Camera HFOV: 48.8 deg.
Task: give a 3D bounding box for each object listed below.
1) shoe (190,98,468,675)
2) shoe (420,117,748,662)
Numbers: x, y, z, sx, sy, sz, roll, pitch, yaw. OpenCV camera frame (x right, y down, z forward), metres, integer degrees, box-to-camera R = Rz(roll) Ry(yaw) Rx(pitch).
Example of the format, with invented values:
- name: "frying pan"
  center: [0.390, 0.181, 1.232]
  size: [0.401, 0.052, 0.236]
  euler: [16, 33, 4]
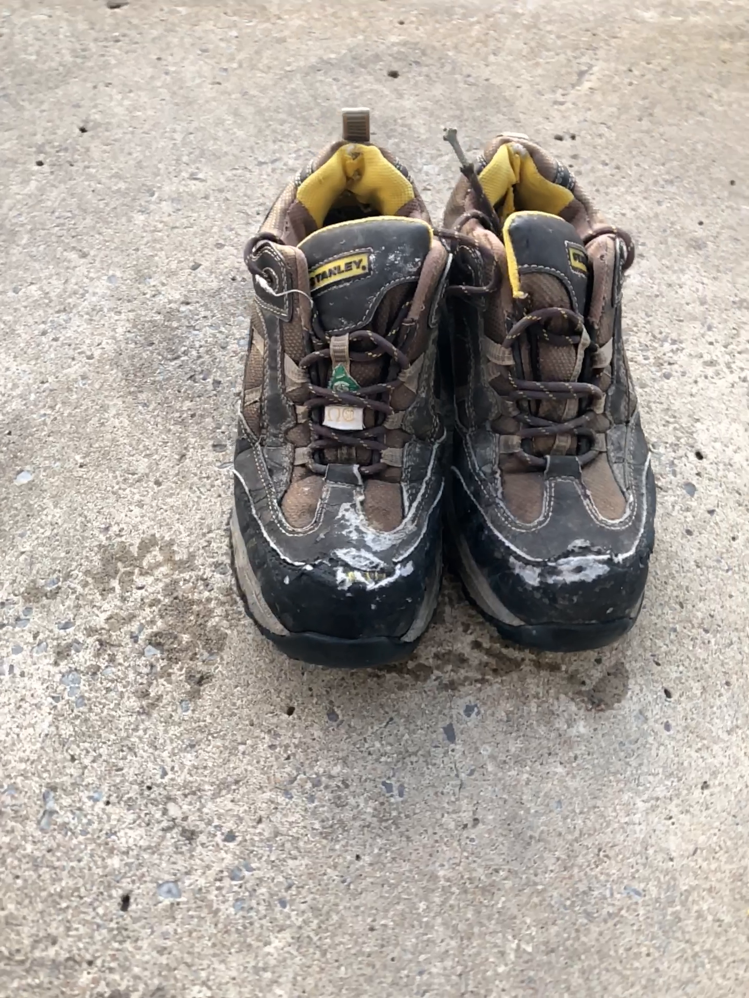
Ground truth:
- name: "shoe"
  center: [-0.021, -0.055, 0.423]
  size: [0.100, 0.149, 0.251]
  euler: [1, 61, -3]
- name: "shoe"
  center: [0.097, -0.052, 0.442]
  size: [0.120, 0.169, 0.231]
  euler: [1, 61, -3]
